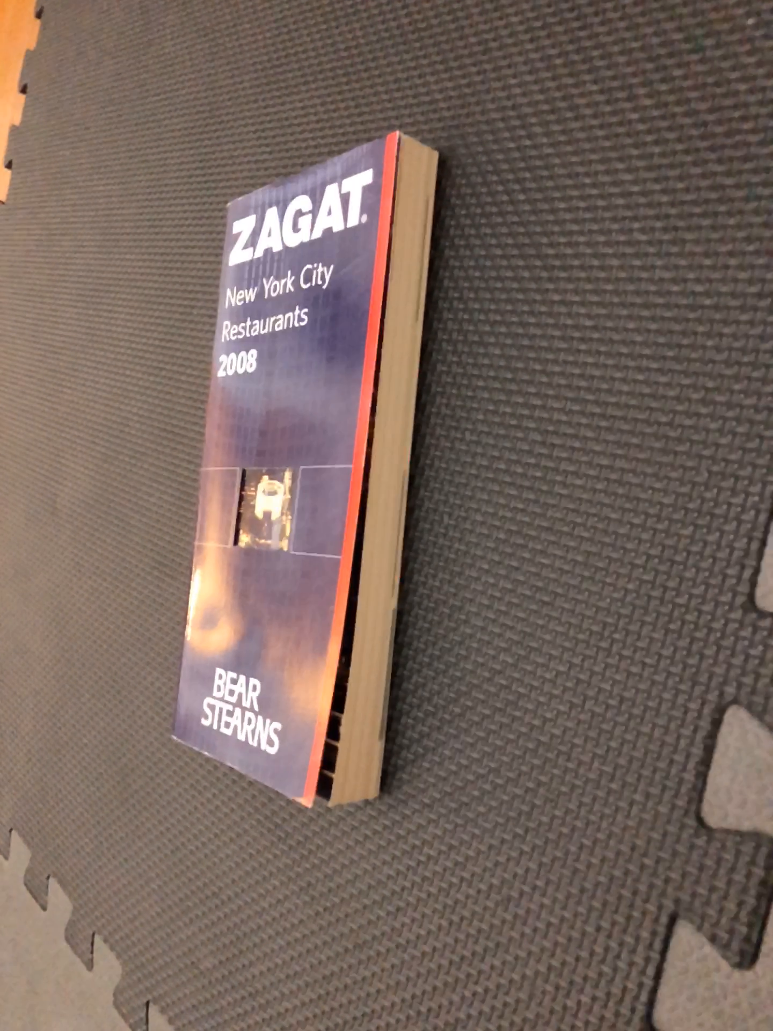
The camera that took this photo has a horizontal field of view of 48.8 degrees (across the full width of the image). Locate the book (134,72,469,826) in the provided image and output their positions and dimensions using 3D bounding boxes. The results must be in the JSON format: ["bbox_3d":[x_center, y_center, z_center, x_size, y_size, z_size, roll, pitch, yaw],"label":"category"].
[{"bbox_3d":[-0.035,-0.022,0.300,0.121,0.030,0.220,2,86,46],"label":"book"}]
